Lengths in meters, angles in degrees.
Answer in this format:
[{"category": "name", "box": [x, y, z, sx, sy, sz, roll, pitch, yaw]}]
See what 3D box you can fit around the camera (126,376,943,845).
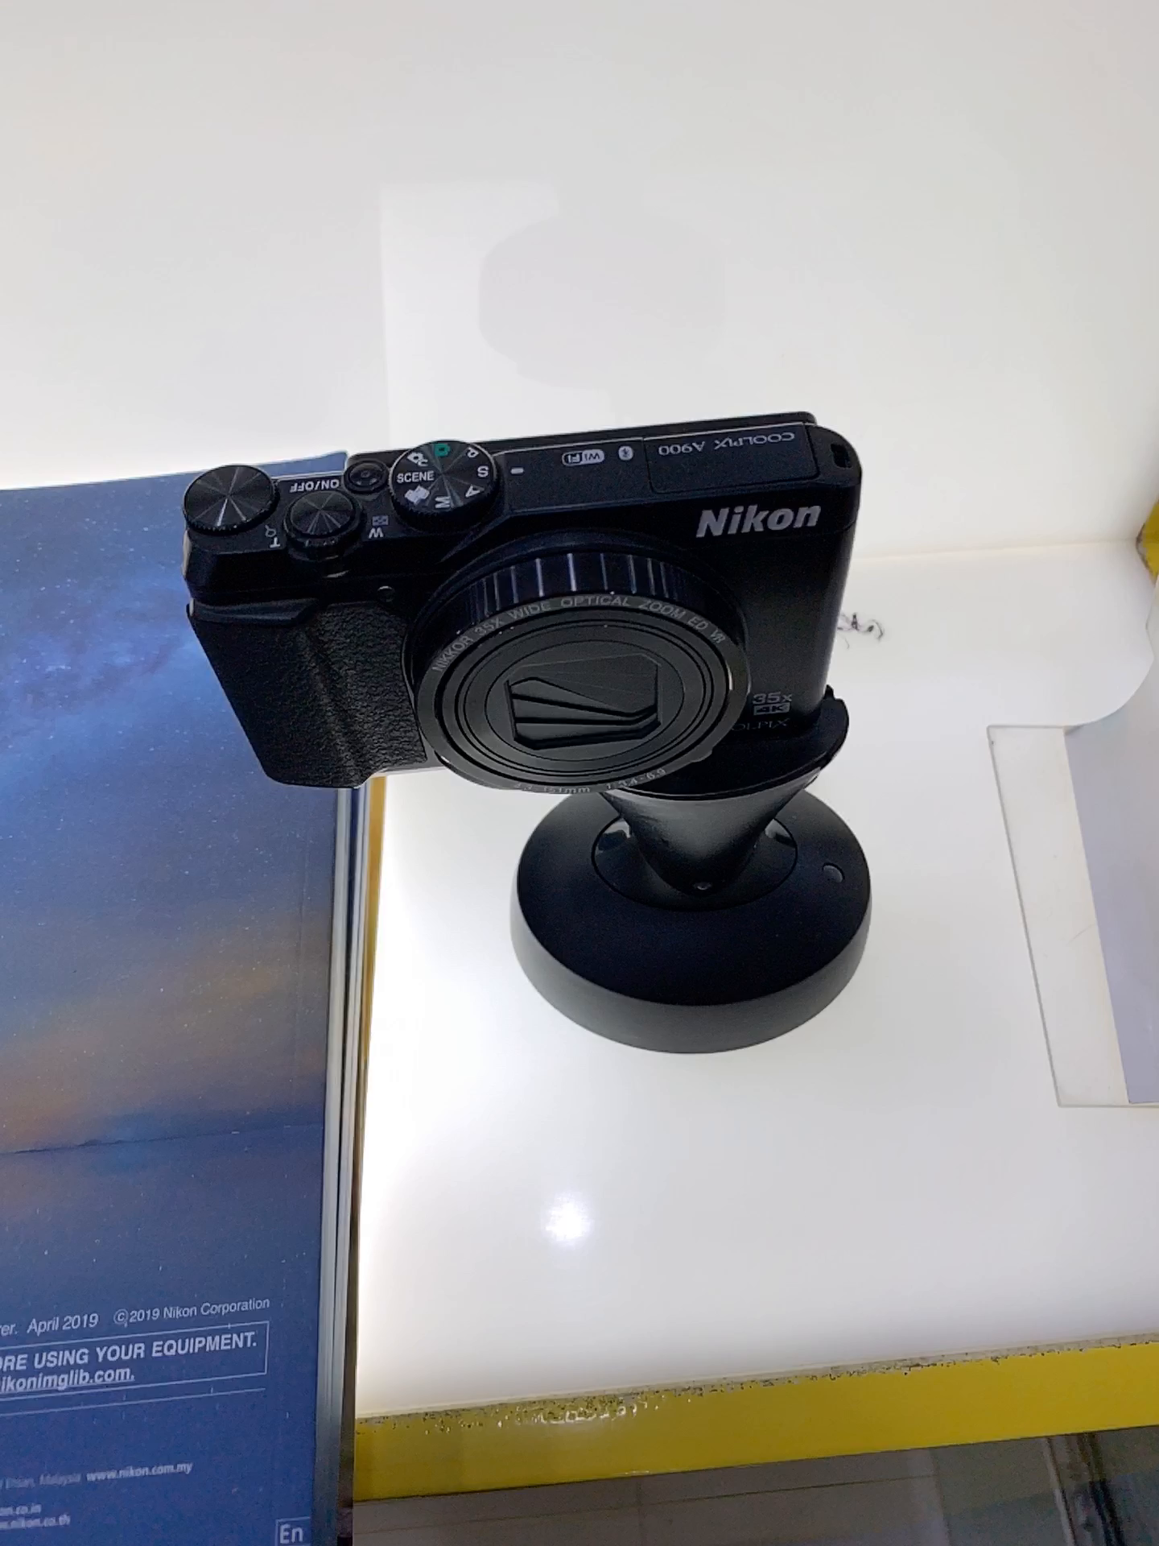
[{"category": "camera", "box": [-0.007, -0.027, 0.211, 0.120, 0.060, 0.040, -6, 56, -3]}]
